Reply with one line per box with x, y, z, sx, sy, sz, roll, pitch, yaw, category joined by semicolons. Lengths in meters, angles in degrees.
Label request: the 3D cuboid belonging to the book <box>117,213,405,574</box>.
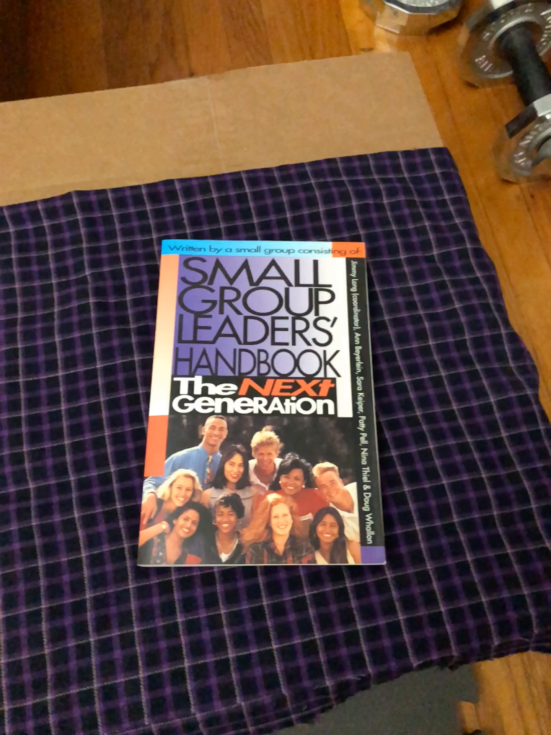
-0.008;0.008;0.370;0.150;0.030;0.221;0;69;-2;book
